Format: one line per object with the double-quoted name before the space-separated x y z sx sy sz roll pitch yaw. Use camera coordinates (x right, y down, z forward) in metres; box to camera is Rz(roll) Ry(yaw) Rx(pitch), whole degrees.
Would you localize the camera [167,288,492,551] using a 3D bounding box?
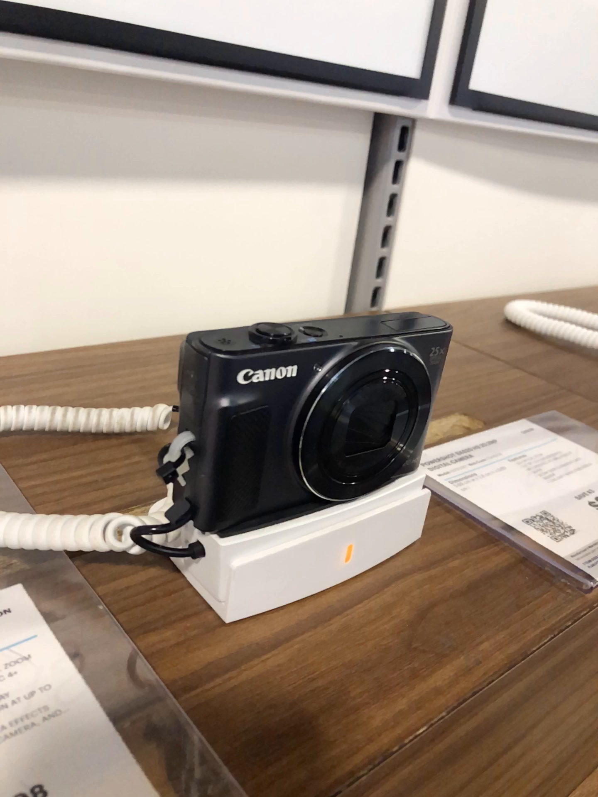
"camera" 0.012 0.001 0.210 0.100 0.060 0.030 -11 28 -38
